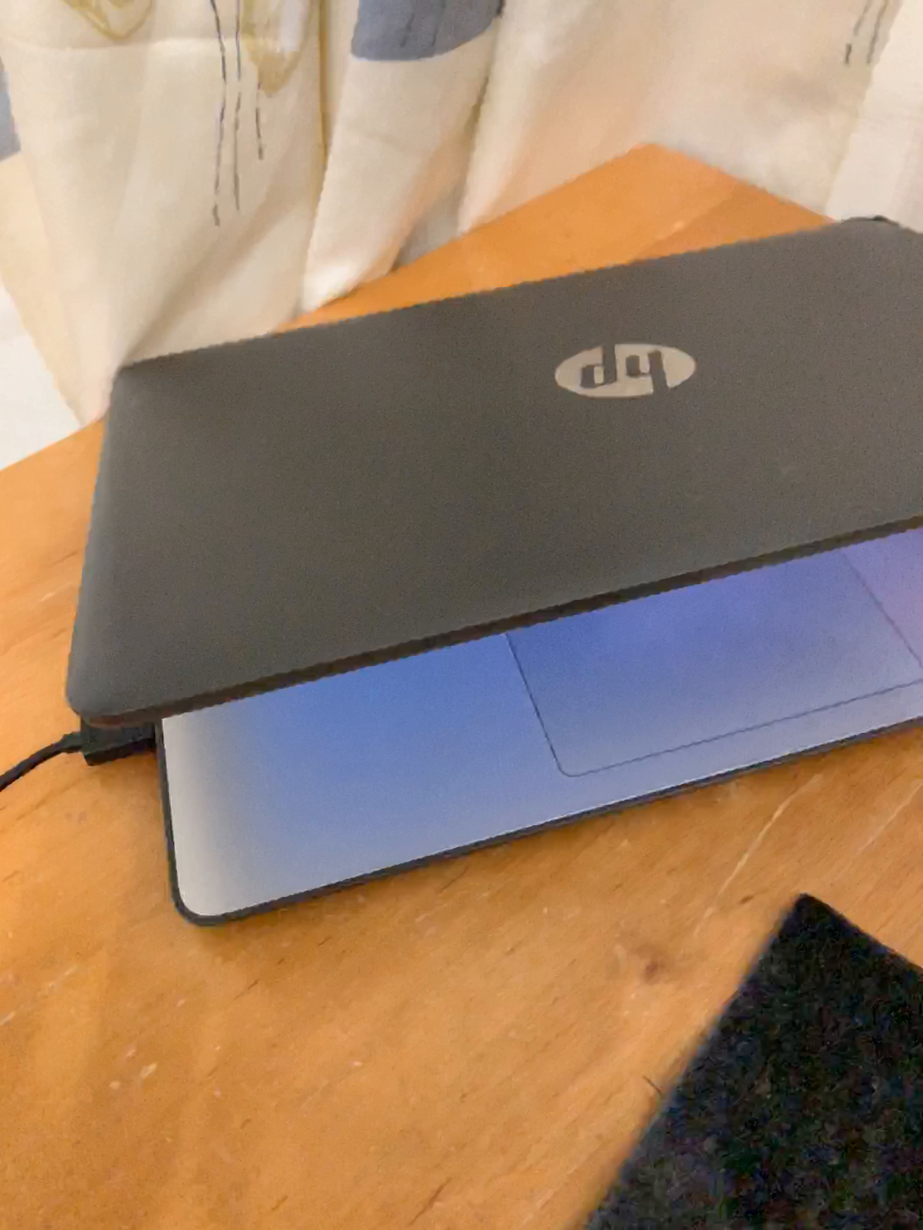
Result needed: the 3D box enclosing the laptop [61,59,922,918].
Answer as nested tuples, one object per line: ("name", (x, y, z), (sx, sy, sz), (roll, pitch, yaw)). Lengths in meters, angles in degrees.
("laptop", (0.043, -0.058, 0.260), (0.268, 0.066, 0.191), (-14, 52, -9))
